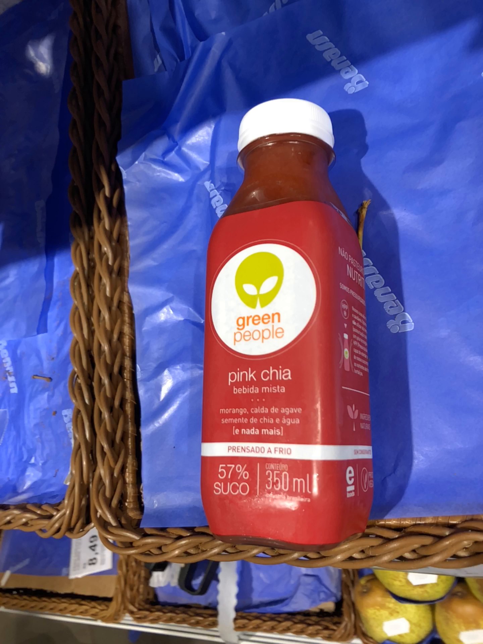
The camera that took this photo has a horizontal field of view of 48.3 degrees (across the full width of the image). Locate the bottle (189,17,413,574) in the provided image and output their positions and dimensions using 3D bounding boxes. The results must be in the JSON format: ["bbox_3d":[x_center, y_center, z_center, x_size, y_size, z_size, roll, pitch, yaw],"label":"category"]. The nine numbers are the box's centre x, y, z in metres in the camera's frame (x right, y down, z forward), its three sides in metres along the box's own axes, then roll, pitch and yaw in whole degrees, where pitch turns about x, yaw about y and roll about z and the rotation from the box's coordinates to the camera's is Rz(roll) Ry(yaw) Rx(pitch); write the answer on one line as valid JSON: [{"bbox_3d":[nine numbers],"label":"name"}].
[{"bbox_3d":[0.026,-0.011,0.217,0.060,0.060,0.190,-7,74,32],"label":"bottle"}]
